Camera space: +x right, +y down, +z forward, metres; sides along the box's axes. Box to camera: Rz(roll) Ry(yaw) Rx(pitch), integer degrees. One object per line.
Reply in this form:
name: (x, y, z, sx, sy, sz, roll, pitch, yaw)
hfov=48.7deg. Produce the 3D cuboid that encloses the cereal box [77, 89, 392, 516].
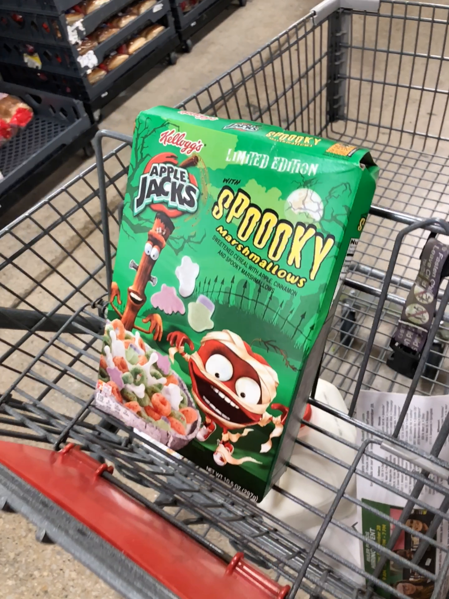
cereal box: (-0.013, -0.003, 0.407, 0.200, 0.280, 0.070, 23, 24, 26)
